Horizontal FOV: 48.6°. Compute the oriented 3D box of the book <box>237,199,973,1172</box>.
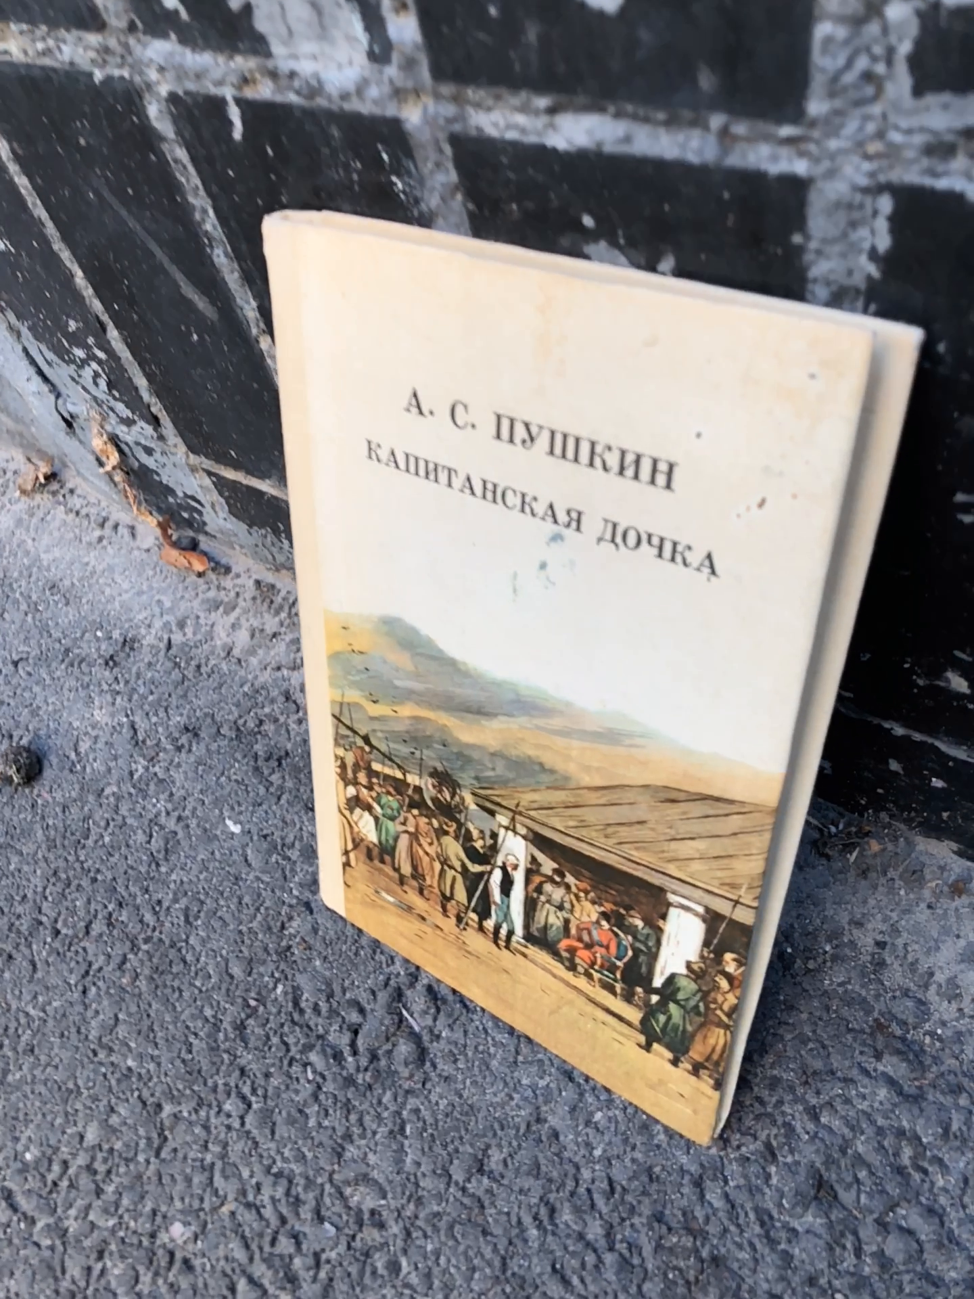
[{"bbox_3d":[0.010,0.016,0.263,0.150,0.214,0.020,23,40,29],"label":"book"}]
